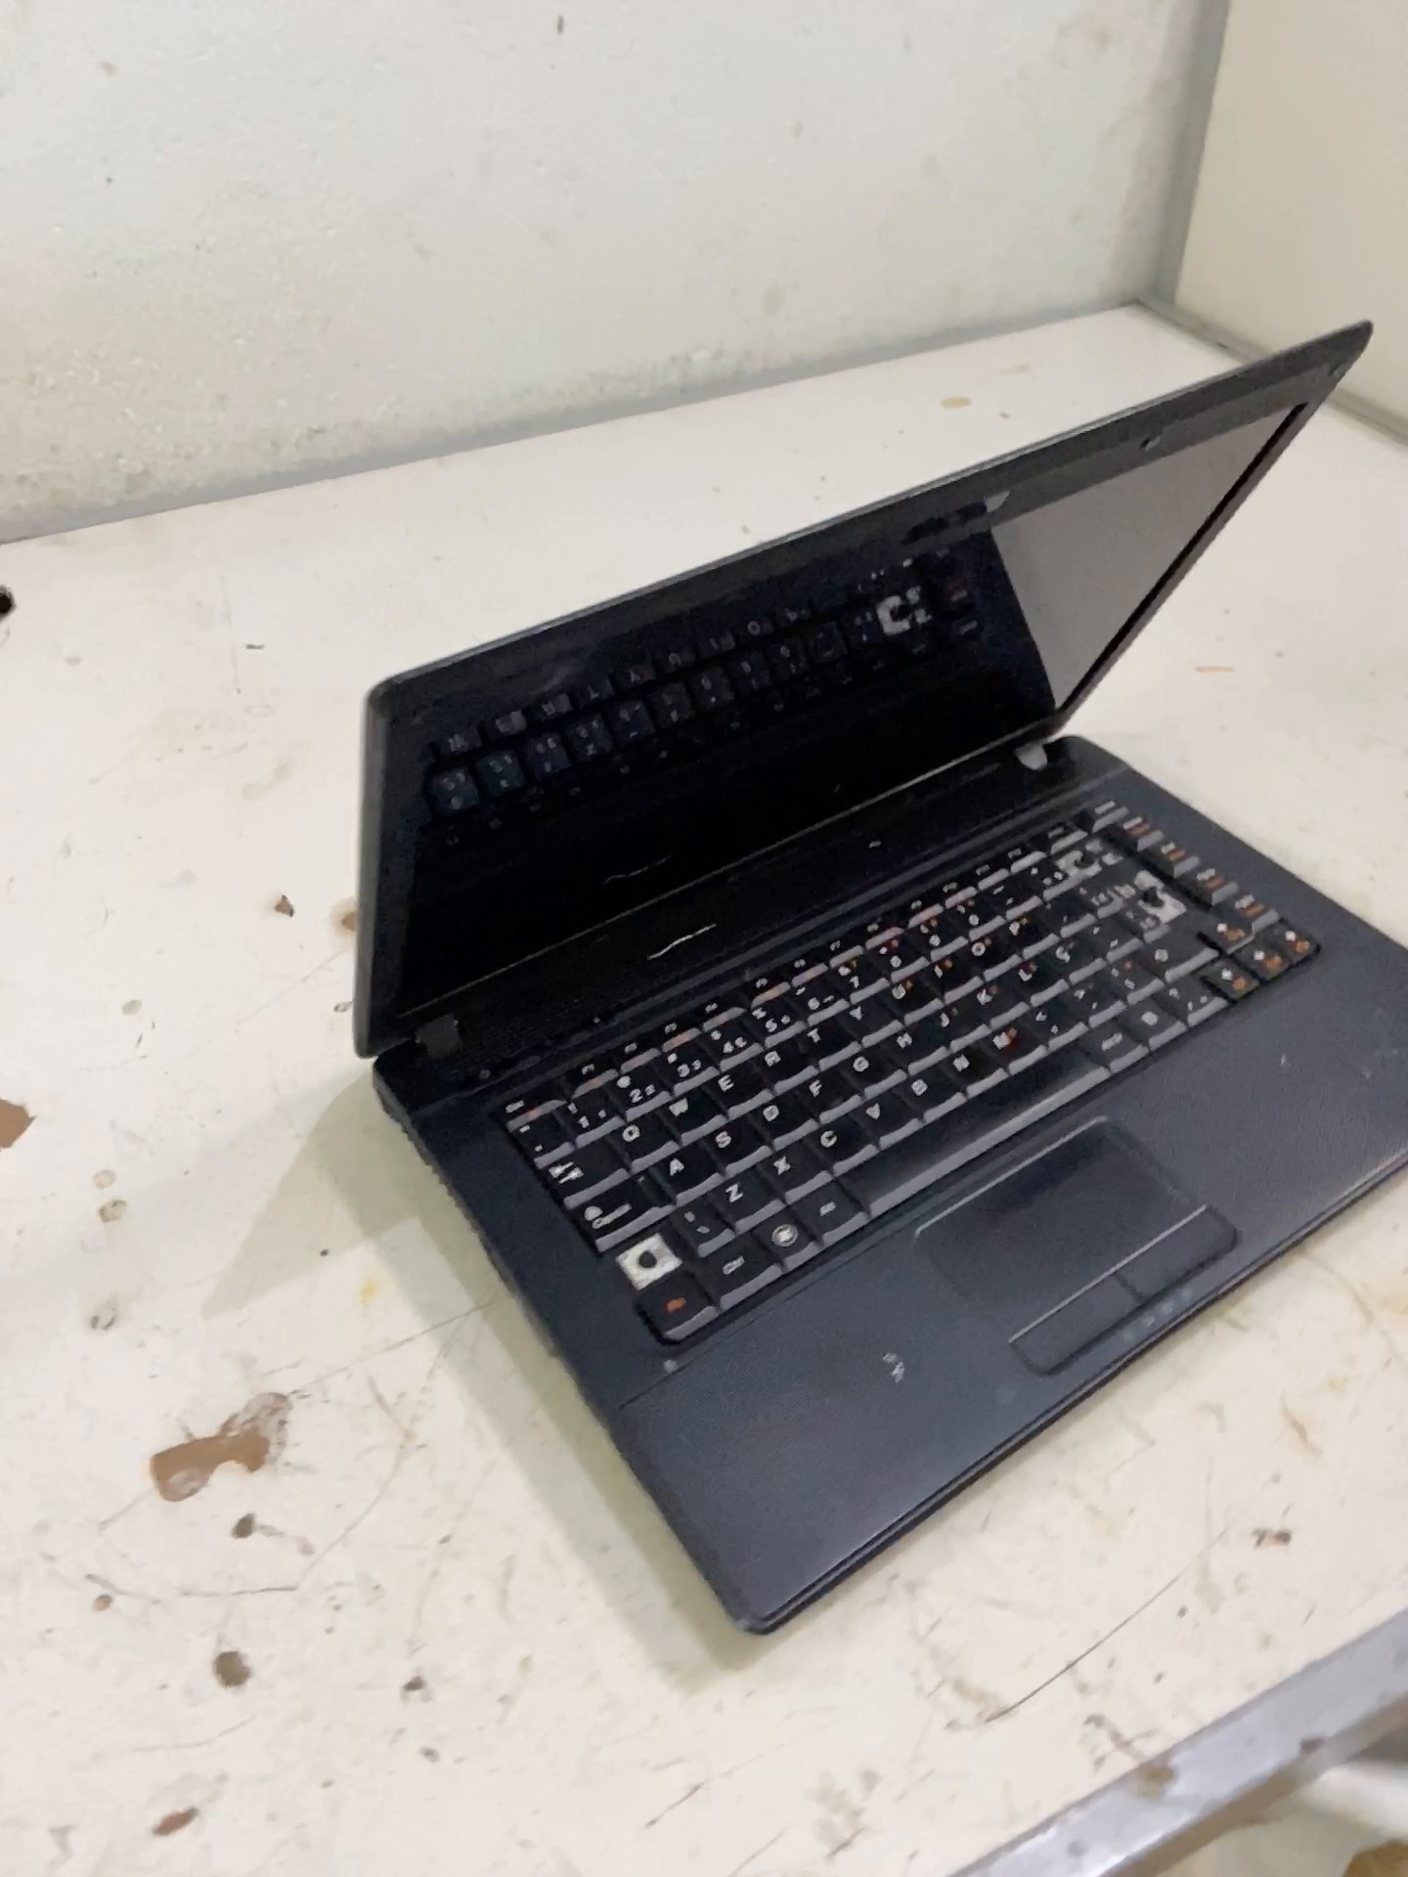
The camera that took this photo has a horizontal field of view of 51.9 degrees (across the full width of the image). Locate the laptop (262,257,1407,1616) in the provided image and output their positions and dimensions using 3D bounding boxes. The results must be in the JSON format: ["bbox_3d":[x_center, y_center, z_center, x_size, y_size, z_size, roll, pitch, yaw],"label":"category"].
[{"bbox_3d":[0.089,-0.036,0.428,0.333,0.194,0.224,-25,47,-24],"label":"laptop"}]
